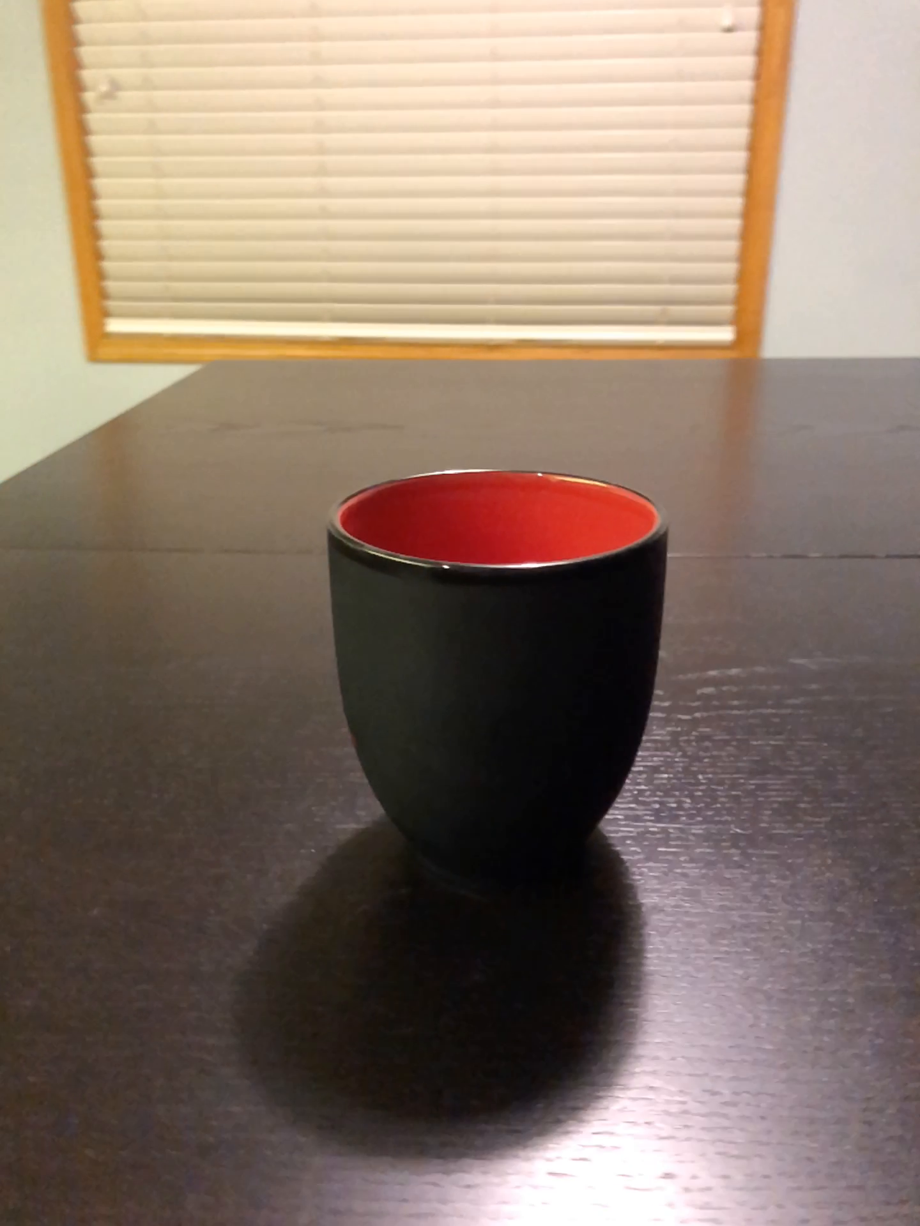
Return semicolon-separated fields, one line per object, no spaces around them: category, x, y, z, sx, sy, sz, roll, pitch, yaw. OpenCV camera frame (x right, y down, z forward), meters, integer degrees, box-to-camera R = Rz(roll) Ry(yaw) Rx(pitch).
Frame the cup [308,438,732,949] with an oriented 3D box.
cup;0.013;0.014;0.327;0.100;0.110;0.141;-1;22;-1
